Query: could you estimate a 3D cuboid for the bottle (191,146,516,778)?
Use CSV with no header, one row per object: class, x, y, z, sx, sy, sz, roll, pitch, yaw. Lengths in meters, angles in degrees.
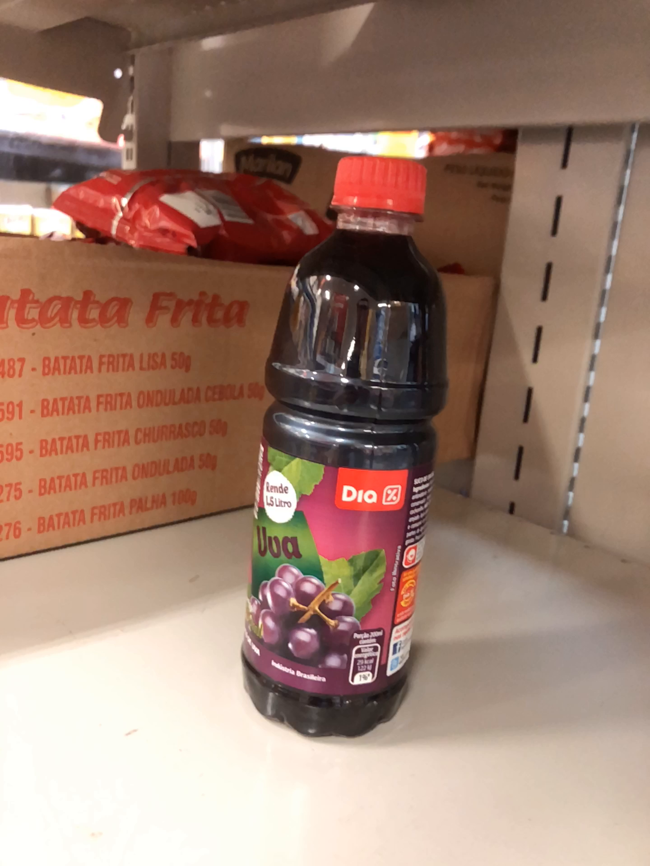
bottle,0.007,0.005,0.267,0.080,0.199,0.070,13,18,31
